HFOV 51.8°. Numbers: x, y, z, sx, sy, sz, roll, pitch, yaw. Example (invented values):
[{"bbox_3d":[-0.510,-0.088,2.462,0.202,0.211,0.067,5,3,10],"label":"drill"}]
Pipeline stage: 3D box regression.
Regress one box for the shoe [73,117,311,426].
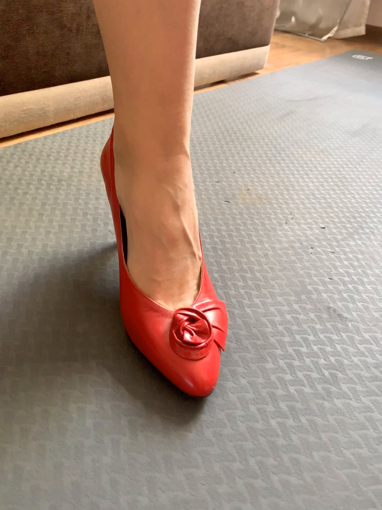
[{"bbox_3d":[-0.023,-0.009,0.293,0.080,0.109,0.211,-11,41,-22],"label":"shoe"}]
